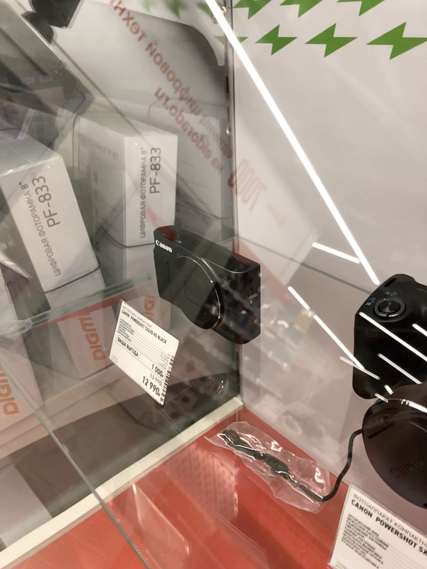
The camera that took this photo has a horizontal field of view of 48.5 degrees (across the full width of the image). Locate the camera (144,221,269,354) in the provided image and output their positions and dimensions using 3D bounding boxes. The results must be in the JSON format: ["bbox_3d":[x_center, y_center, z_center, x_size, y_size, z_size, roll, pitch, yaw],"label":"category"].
[{"bbox_3d":[-0.007,-0.002,0.334,0.030,0.055,0.098,-24,36,-32],"label":"camera"}]
